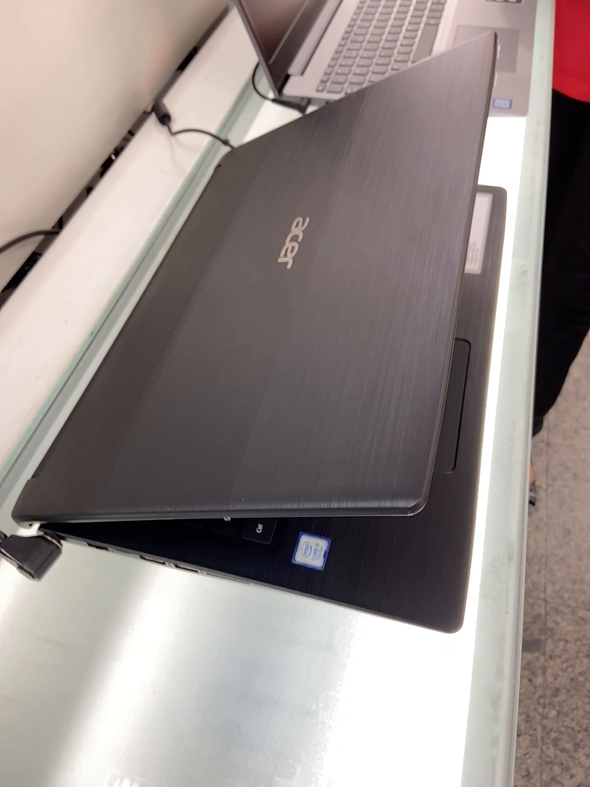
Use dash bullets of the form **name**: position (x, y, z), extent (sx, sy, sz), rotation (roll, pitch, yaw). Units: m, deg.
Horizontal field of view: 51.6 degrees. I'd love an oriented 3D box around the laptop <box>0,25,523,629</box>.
- **laptop**: position (0.005, -0.087, 0.393), extent (0.236, 0.118, 0.382), rotation (10, 54, 12)
